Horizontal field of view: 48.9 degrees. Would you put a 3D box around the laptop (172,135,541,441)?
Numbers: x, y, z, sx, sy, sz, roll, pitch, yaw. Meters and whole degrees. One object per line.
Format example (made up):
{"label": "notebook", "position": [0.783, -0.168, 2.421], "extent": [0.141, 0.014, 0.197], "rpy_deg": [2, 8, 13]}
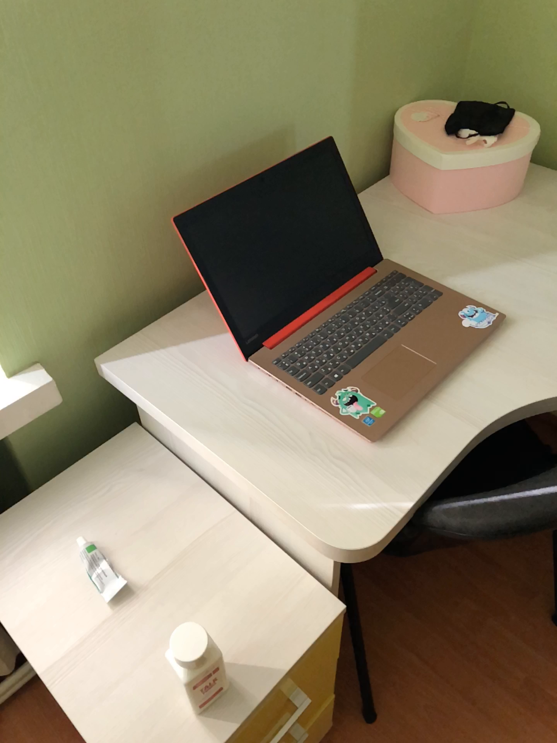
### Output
{"label": "laptop", "position": [0.119, -0.166, 0.987], "extent": [0.402, 0.198, 0.375], "rpy_deg": [33, 54, 30]}
